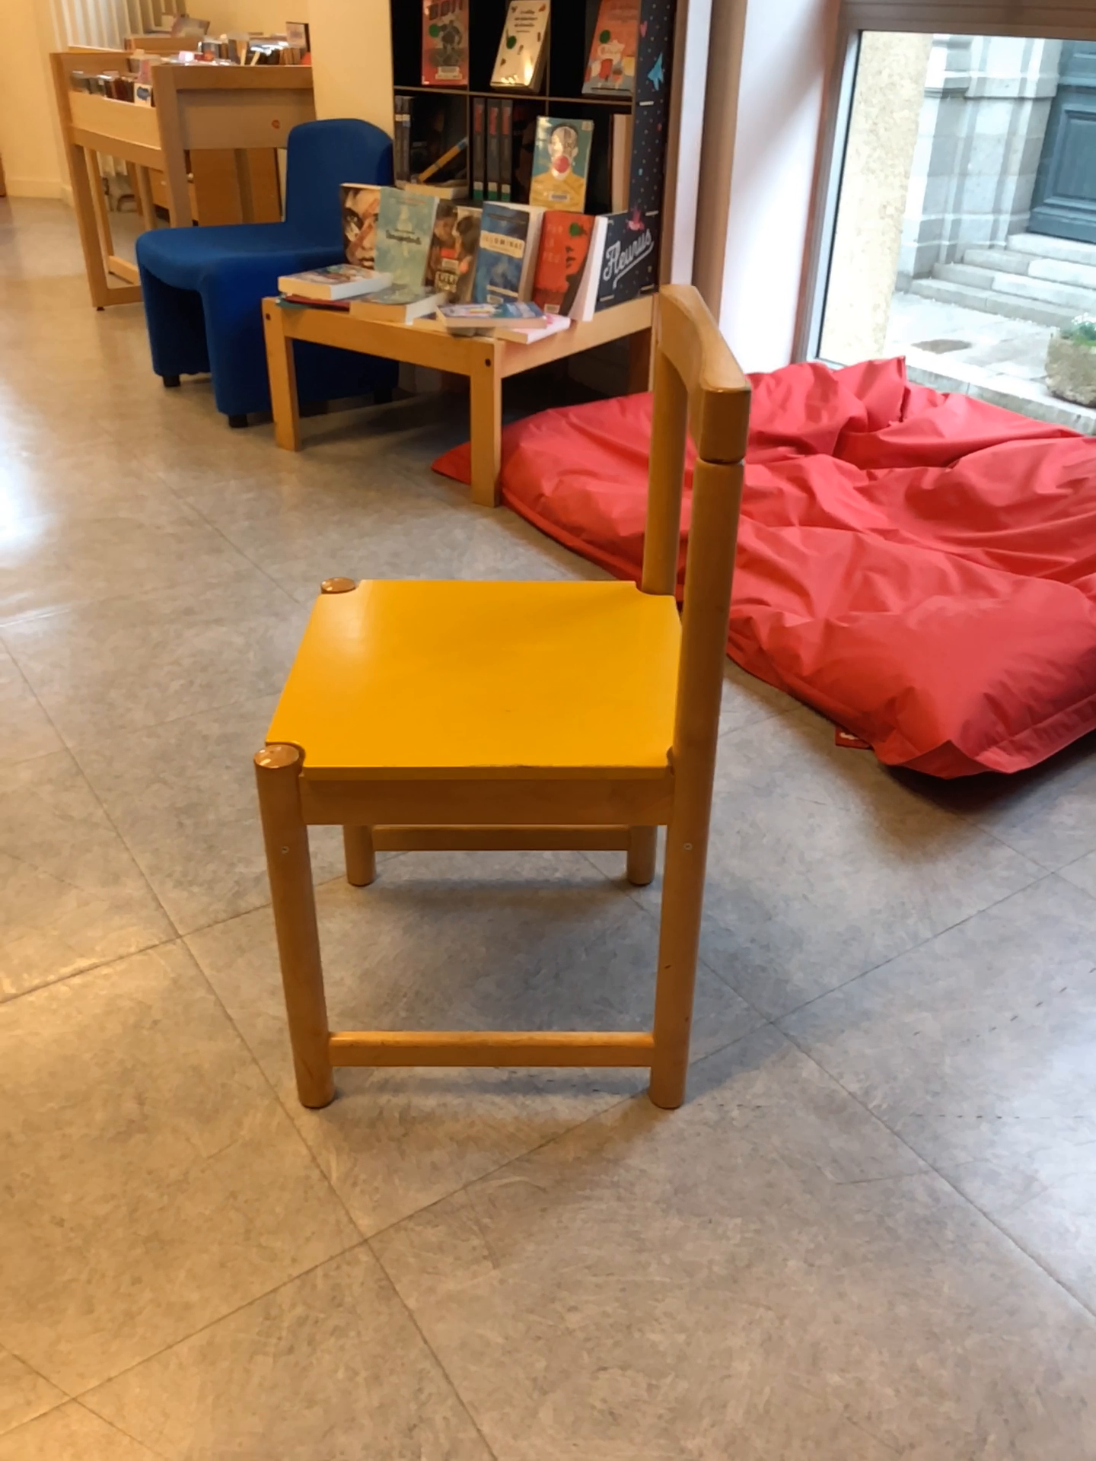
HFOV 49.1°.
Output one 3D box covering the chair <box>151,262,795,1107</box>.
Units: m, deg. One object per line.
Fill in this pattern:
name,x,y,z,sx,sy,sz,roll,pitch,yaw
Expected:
chair,-0.057,-0.051,1.147,0.420,0.666,0.453,0,31,-1
